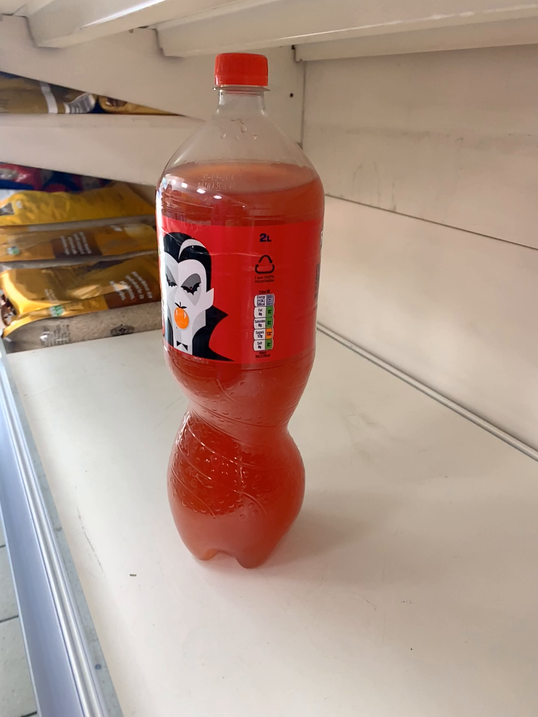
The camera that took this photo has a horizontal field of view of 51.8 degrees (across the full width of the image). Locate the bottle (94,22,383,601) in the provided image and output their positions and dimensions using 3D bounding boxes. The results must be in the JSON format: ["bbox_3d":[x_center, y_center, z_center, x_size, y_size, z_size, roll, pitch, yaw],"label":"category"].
[{"bbox_3d":[-0.024,-0.025,0.371,0.110,0.327,0.121,1,24,-1],"label":"bottle"}]
